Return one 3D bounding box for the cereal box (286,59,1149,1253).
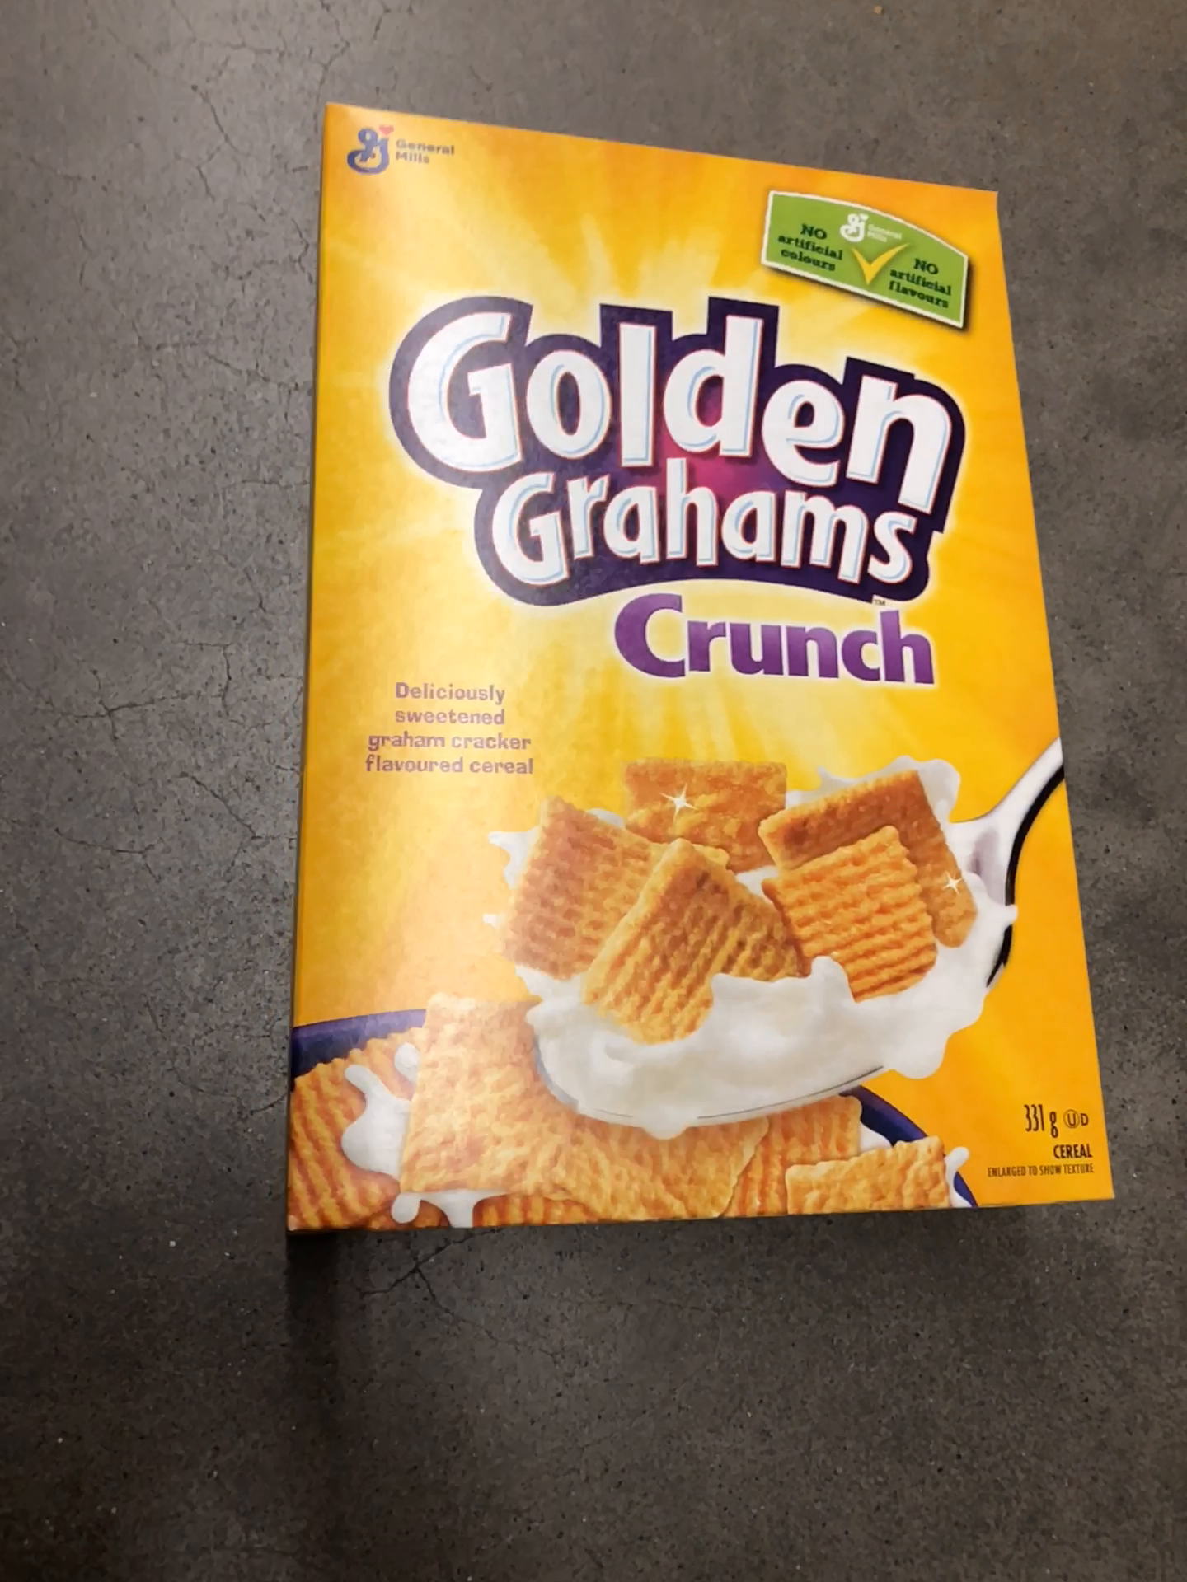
[{"bbox_3d":[0.025,-0.038,0.363,0.200,0.070,0.300,1,76,-10],"label":"cereal box"}]
